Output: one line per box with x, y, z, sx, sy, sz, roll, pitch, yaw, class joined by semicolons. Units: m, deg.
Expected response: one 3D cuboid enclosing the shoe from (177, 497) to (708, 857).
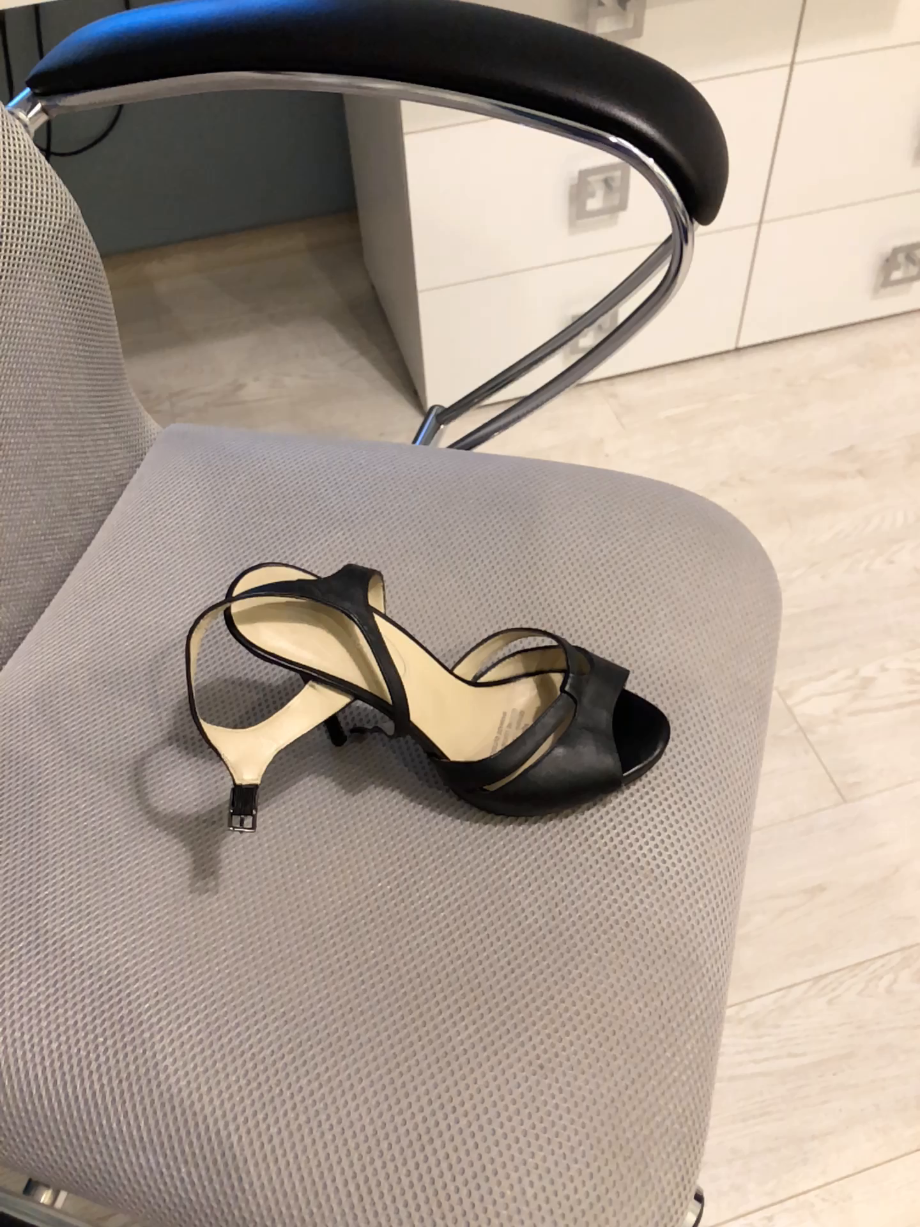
-0.001;0.030;0.471;0.210;0.119;0.091;7;52;8;shoe
